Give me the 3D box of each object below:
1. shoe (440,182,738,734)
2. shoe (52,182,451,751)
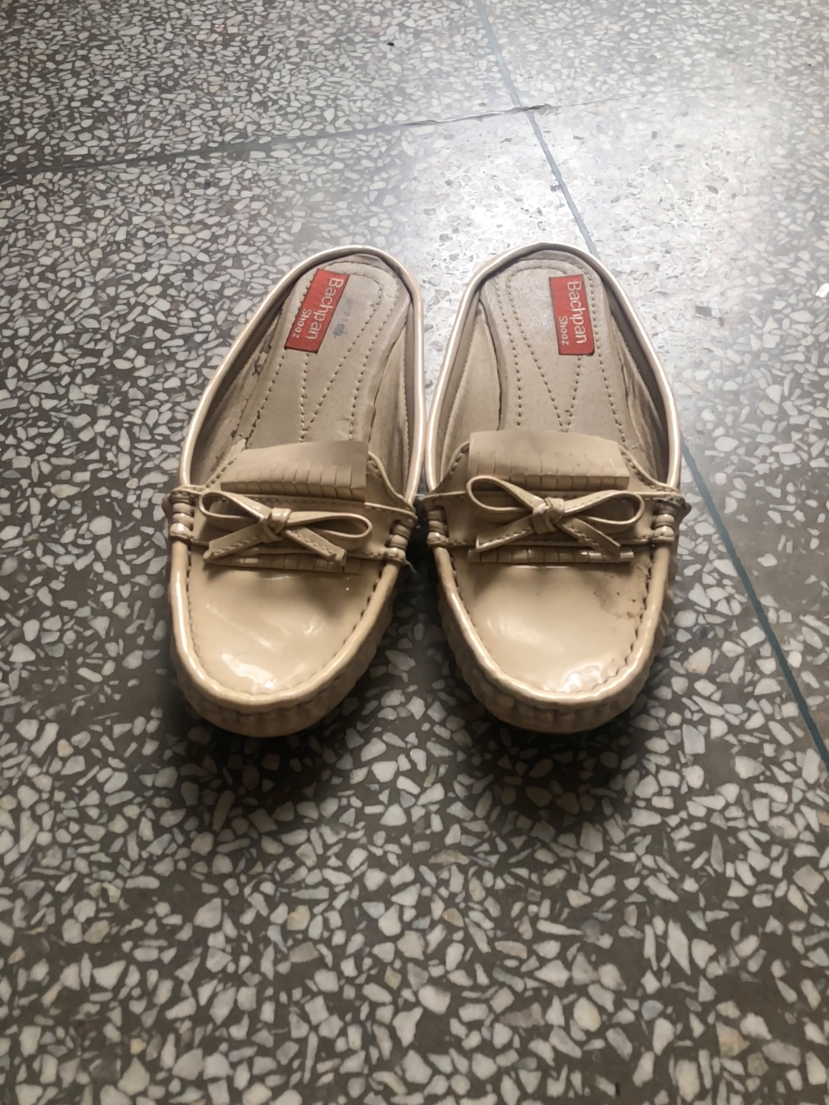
[{"bbox_3d":[0.054,-0.046,0.322,0.080,0.040,0.210,2,58,3],"label":"shoe"},{"bbox_3d":[-0.044,-0.045,0.333,0.090,0.040,0.220,6,58,6],"label":"shoe"}]
